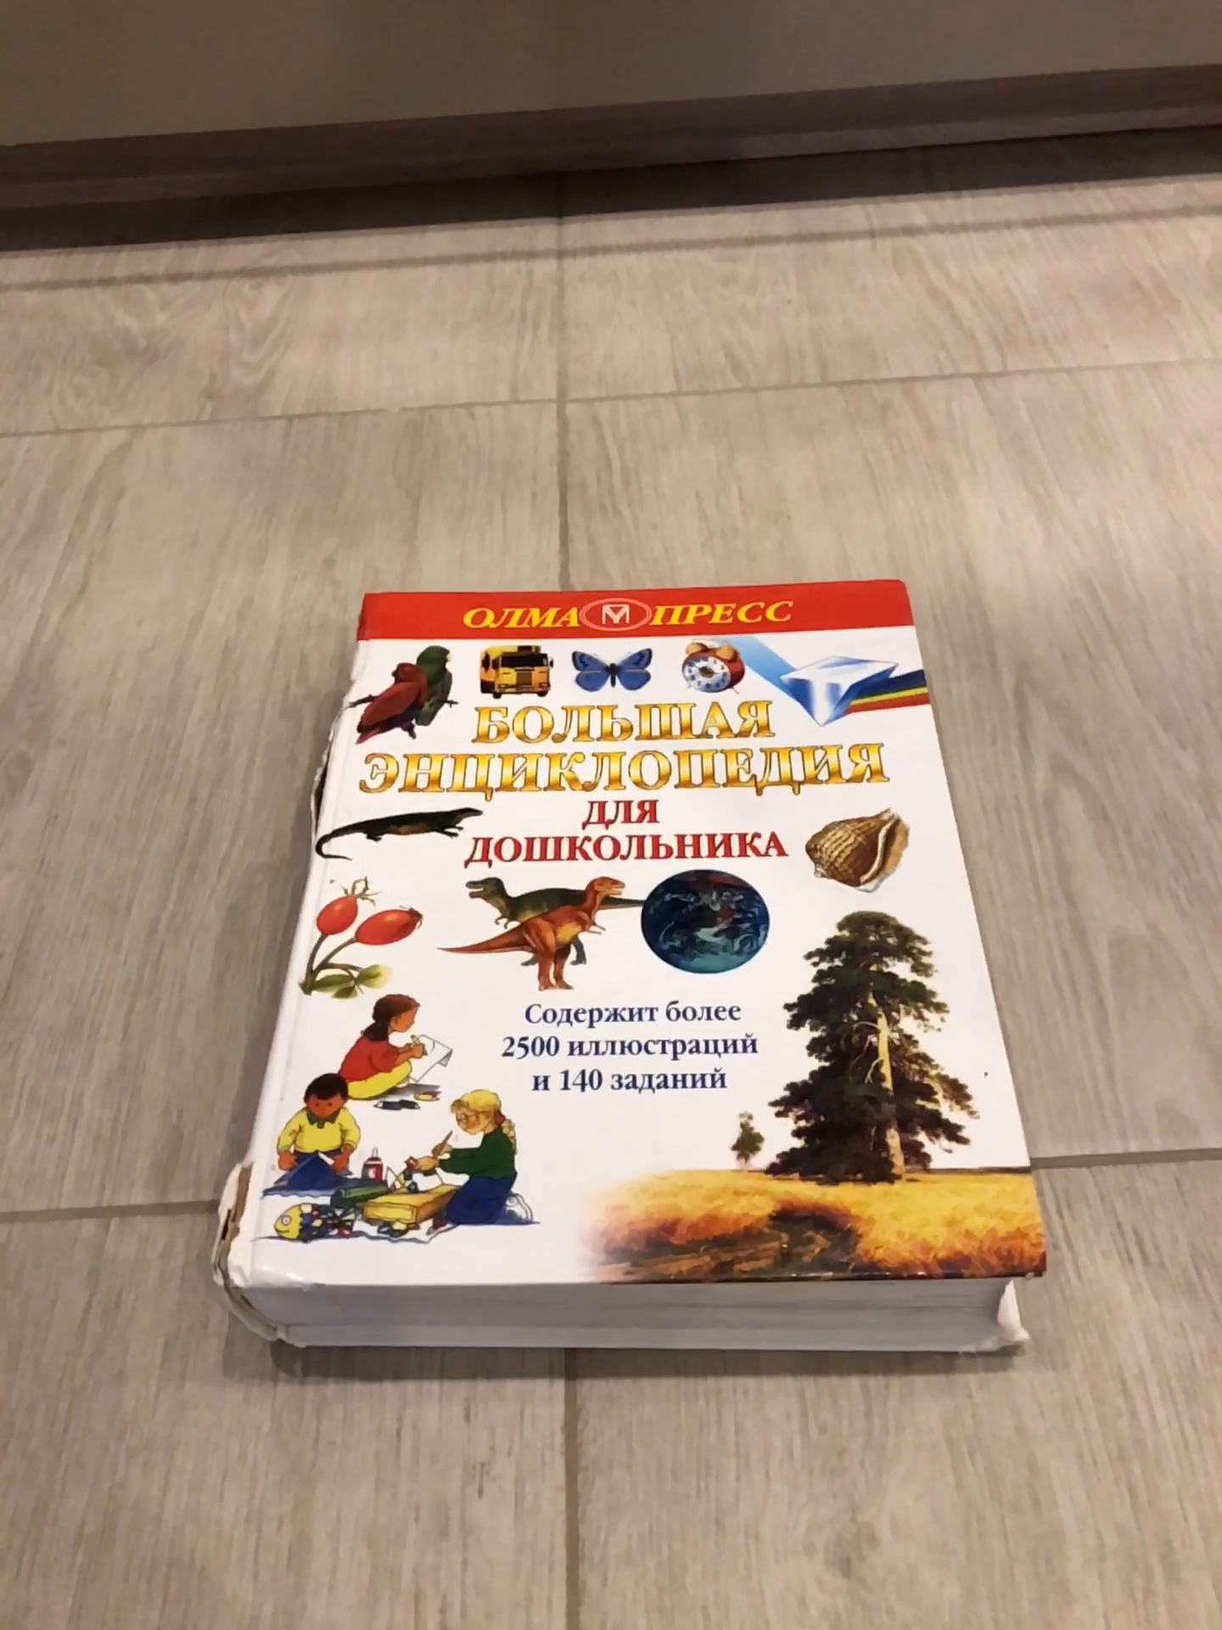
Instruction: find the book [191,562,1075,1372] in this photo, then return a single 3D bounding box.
[{"bbox_3d":[0.007,0.029,0.444,0.216,0.060,0.282,-1,48,2],"label":"book"}]
